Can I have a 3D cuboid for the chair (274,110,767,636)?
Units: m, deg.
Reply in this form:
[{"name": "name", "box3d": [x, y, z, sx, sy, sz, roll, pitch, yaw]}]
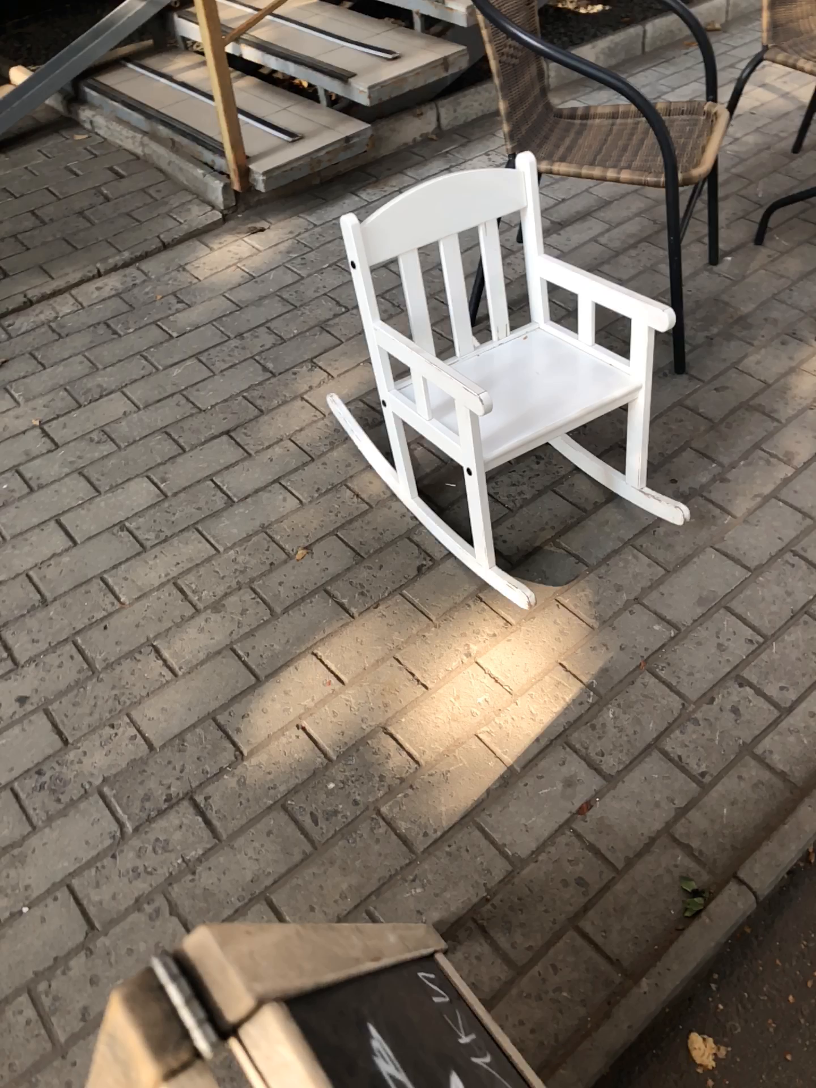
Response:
[{"name": "chair", "box3d": [0.143, -0.326, 1.541, 0.381, 0.518, 0.732, -26, 49, -19]}]
